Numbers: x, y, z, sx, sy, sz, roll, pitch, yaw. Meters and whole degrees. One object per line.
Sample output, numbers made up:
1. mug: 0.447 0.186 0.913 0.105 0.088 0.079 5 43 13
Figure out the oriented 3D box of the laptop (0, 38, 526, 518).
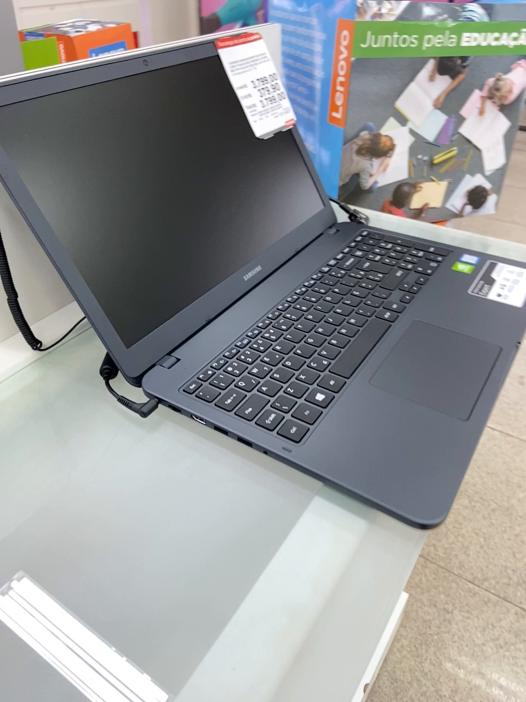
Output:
1. laptop: 0.047 -0.131 0.475 0.369 0.192 0.373 21 42 26
